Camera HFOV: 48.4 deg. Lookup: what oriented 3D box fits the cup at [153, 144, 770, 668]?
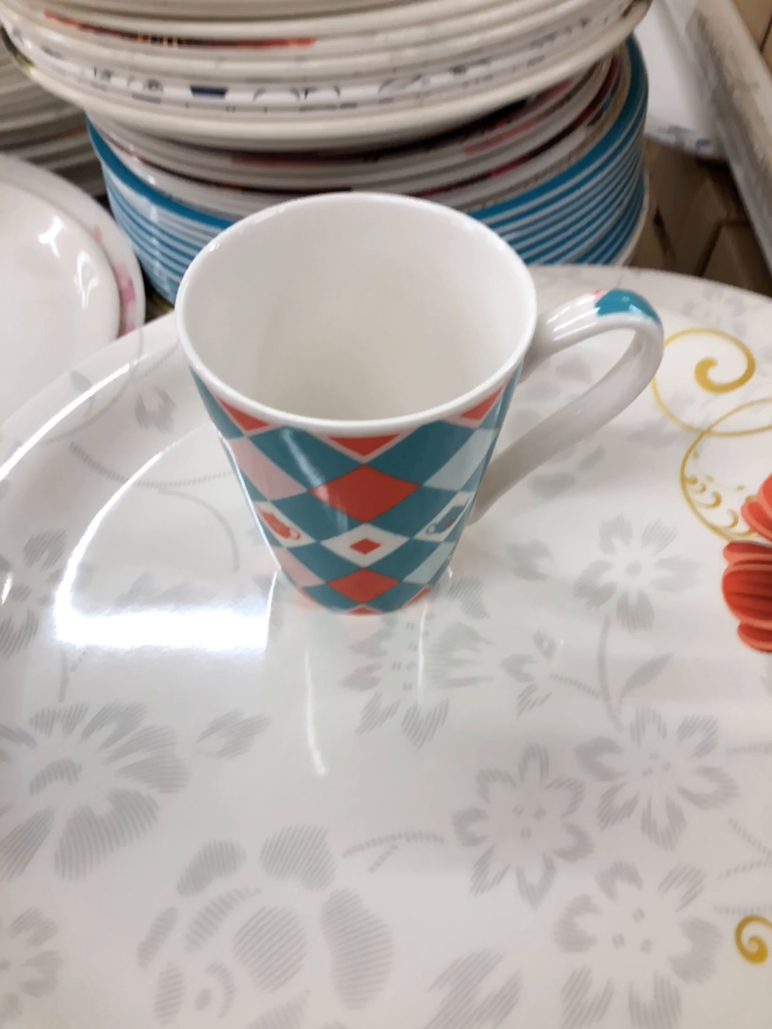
[{"bbox_3d":[0.014,-0.030,0.248,0.130,0.099,0.080,-13,55,-11],"label":"cup"}]
